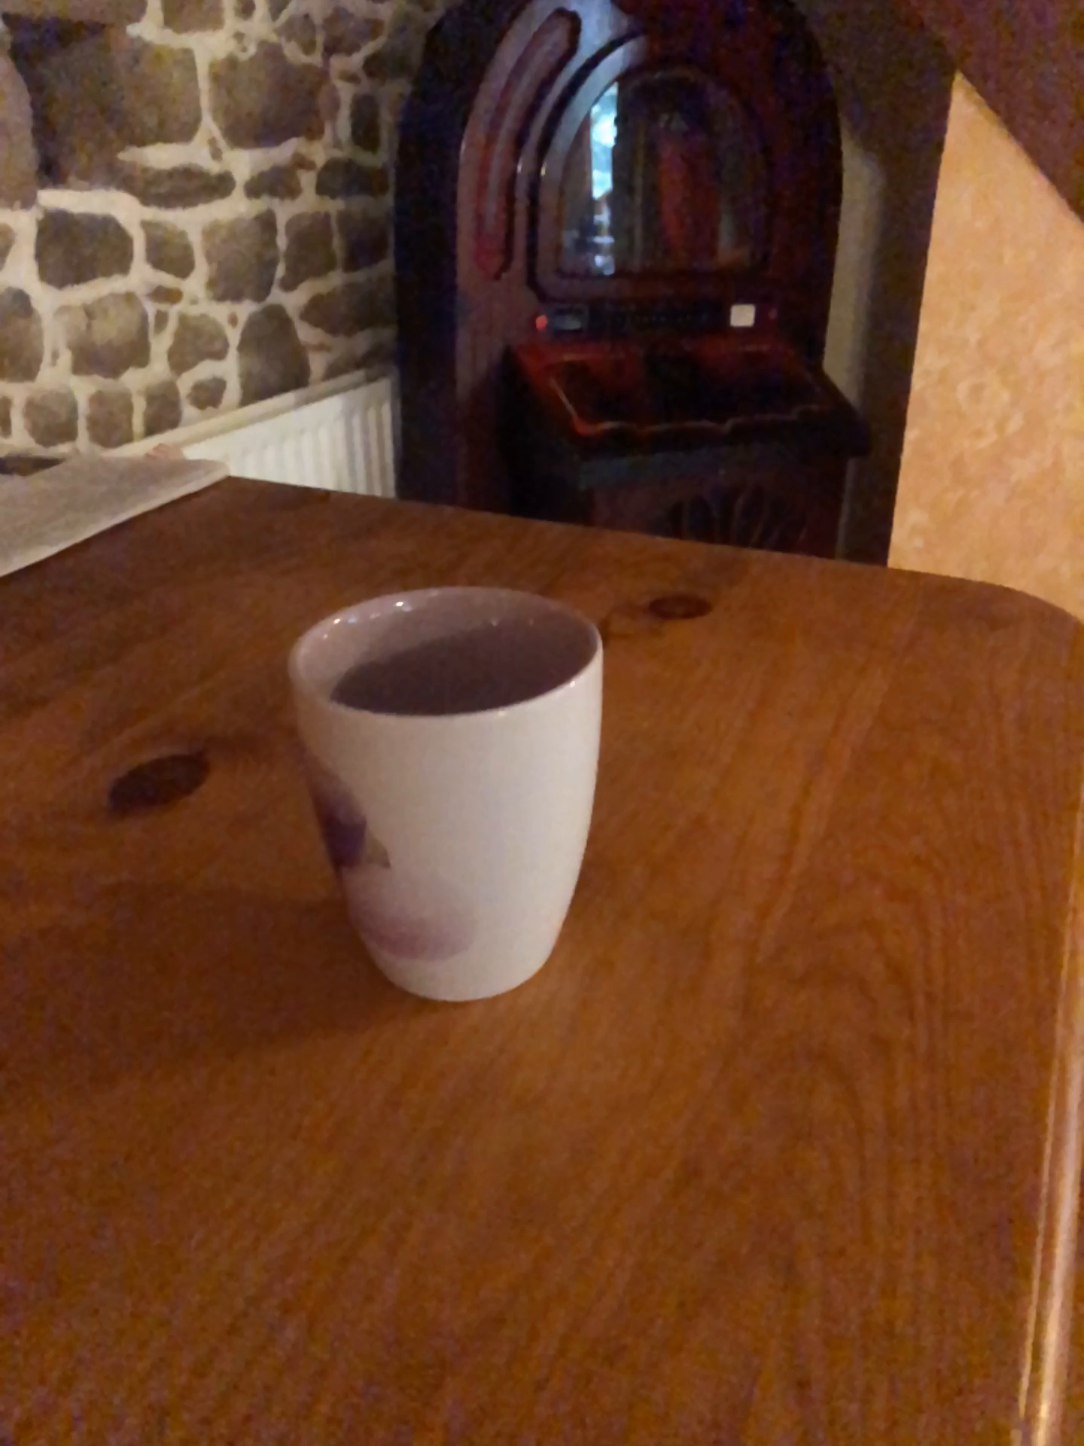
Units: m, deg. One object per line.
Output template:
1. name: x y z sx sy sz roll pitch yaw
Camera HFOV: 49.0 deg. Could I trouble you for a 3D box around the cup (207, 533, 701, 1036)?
1. cup: -0.030 0.009 0.380 0.101 0.095 0.120 -18 32 -32
